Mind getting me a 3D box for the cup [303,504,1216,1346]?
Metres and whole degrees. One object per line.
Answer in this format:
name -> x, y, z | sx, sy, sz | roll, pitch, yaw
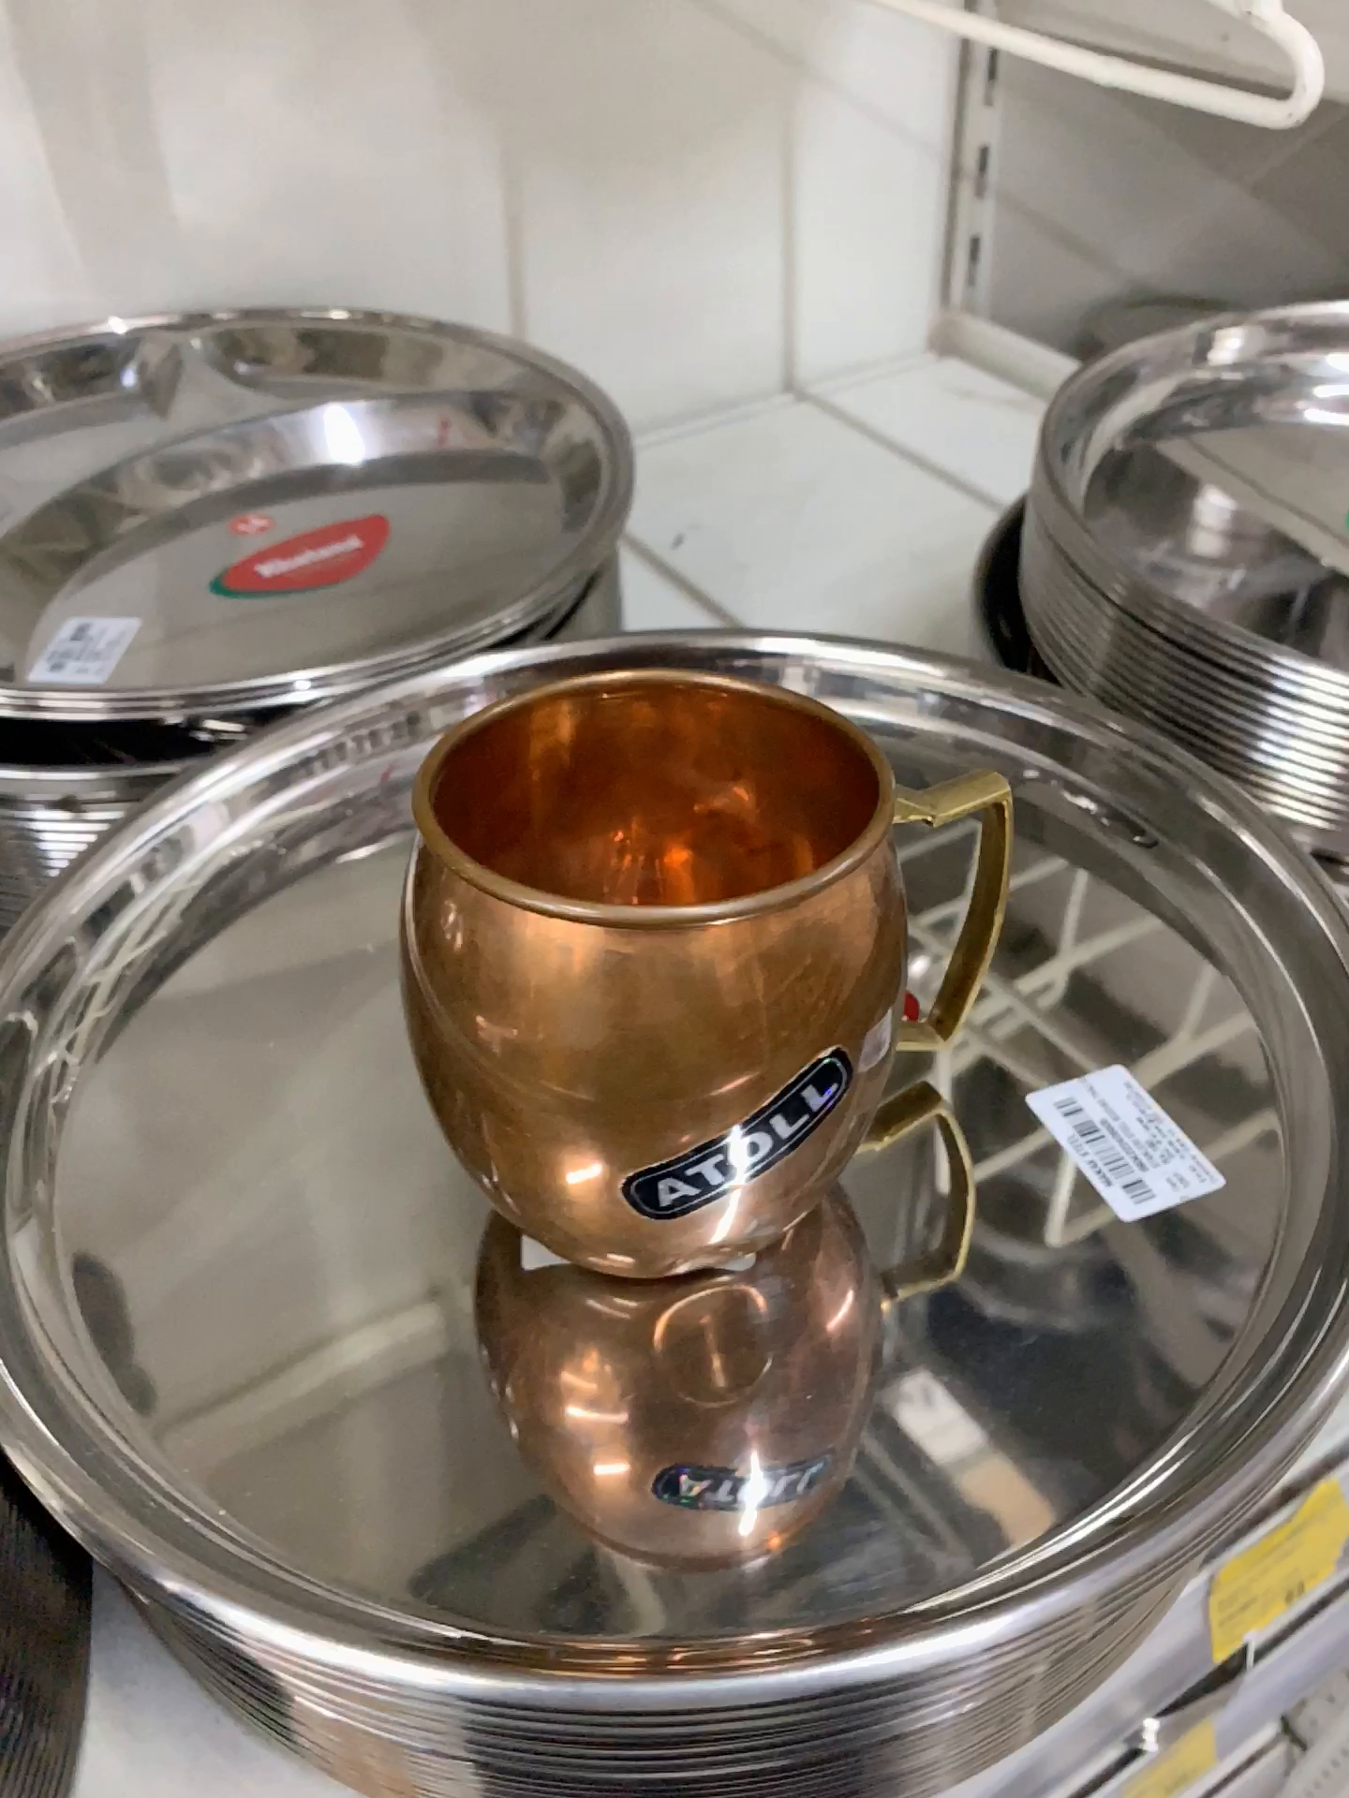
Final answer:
cup -> 0.009, -0.002, 0.256 | 0.120, 0.090, 0.090 | -16, 43, -18
